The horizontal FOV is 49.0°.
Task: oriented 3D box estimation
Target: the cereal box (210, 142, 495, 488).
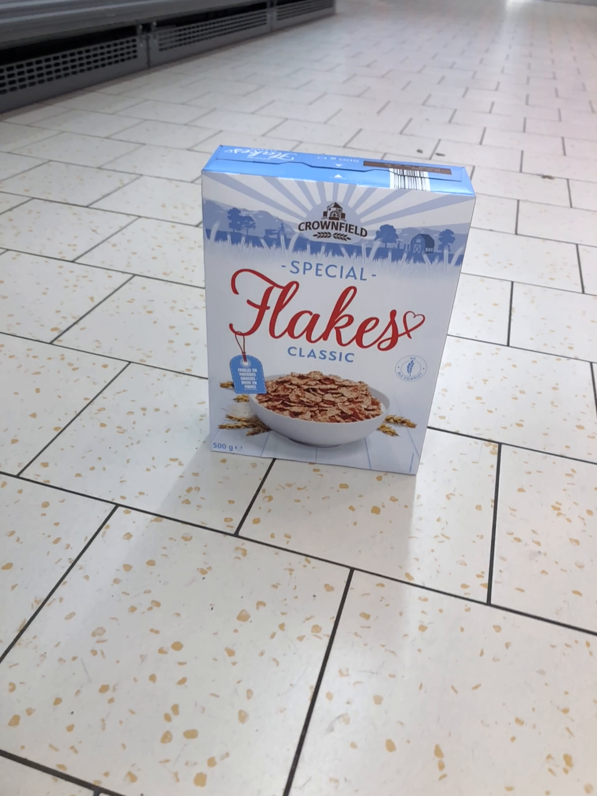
[{"bbox_3d":[0.033,-0.061,0.560,0.200,0.268,0.070,7,34,5],"label":"cereal box"}]
